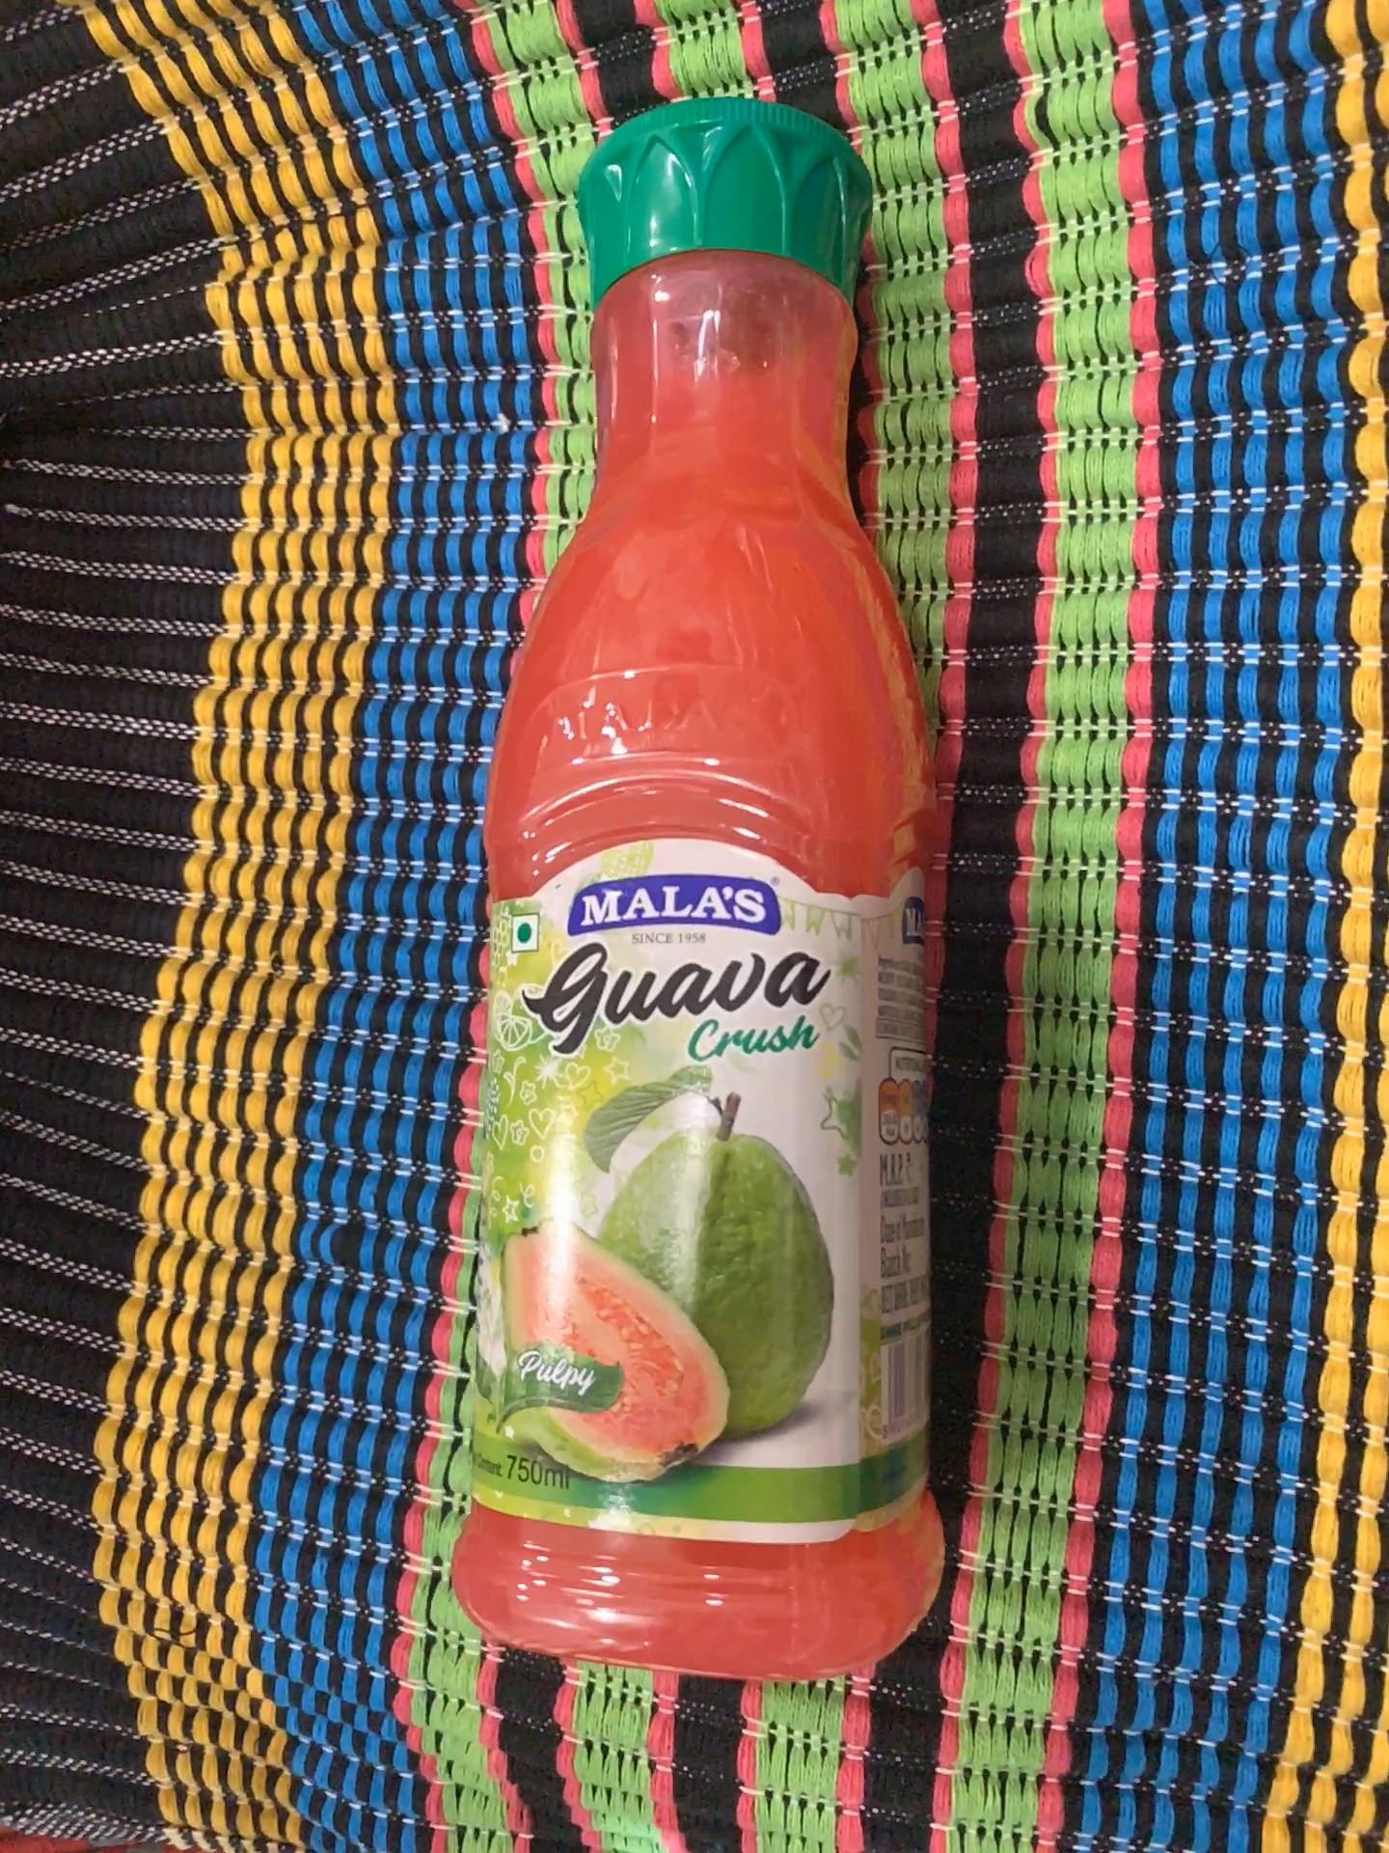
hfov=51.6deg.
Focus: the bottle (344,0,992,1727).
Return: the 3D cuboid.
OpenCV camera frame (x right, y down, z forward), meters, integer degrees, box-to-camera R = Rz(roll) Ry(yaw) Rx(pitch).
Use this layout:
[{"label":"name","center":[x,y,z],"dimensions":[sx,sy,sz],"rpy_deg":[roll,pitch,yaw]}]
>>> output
[{"label":"bottle","center":[0.003,-0.022,0.246],"dimensions":[0.080,0.080,0.260],"rpy_deg":[-3,79,16]}]
